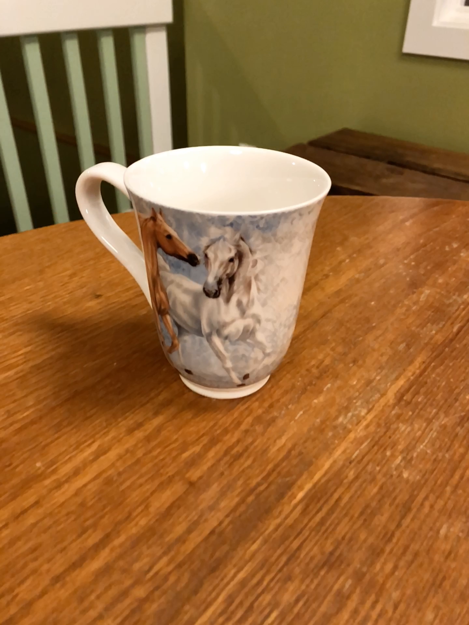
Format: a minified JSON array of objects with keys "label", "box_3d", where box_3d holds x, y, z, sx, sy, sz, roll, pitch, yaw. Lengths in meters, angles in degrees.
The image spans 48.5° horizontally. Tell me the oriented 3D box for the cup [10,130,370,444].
[{"label":"cup","box_3d":[-0.017,-0.021,0.253,0.133,0.098,0.083,15,36,20]}]
